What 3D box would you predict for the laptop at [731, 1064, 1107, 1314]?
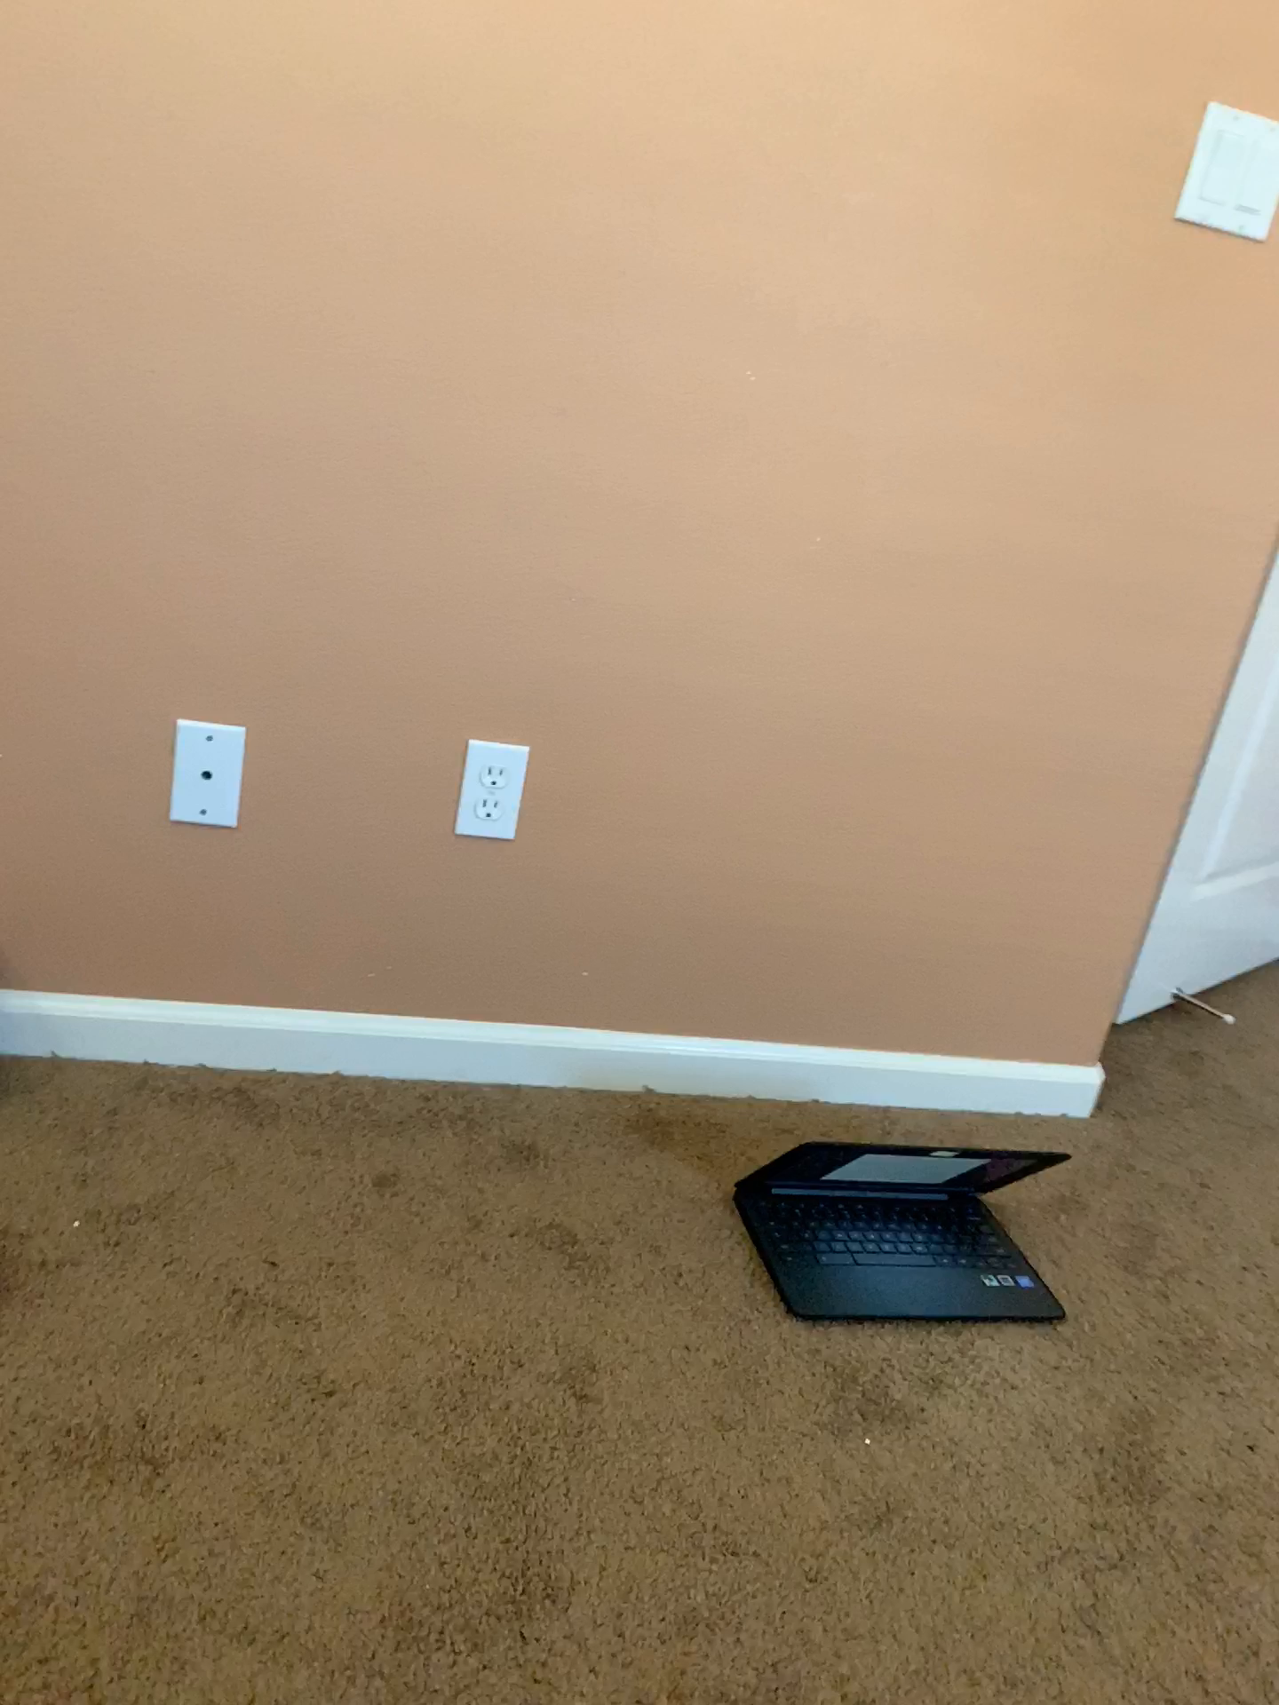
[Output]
[{"bbox_3d":[0.272,0.337,1.321,0.292,0.140,0.193,7,21,-16],"label":"laptop"}]
